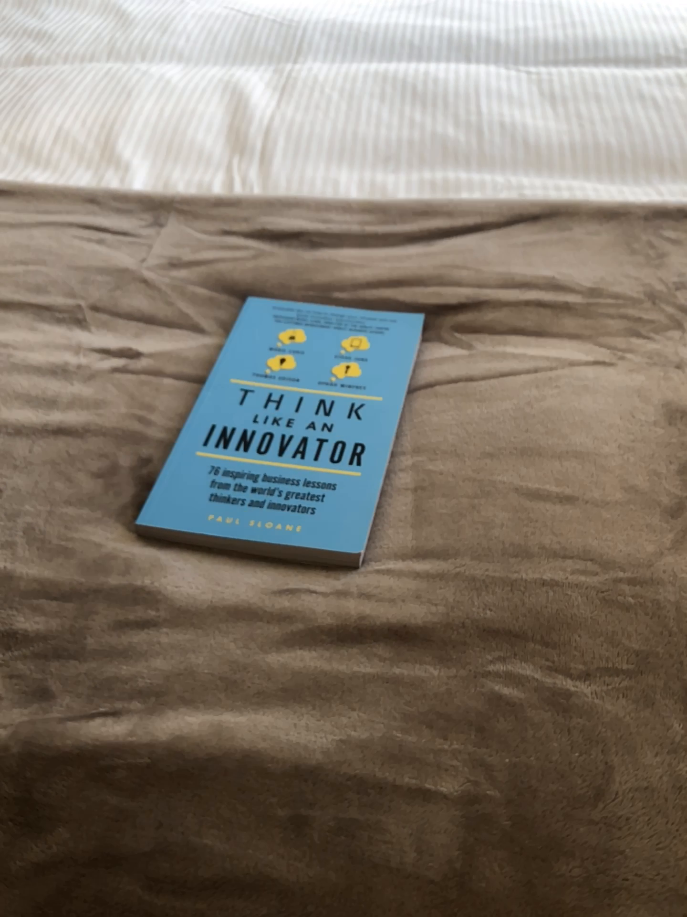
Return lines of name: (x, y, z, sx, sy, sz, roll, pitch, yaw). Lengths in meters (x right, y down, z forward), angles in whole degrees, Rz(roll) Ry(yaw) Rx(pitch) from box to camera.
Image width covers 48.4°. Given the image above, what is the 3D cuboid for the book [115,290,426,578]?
book: (-0.034, -0.031, 0.491, 0.140, 0.020, 0.221, 6, 48, 12)
